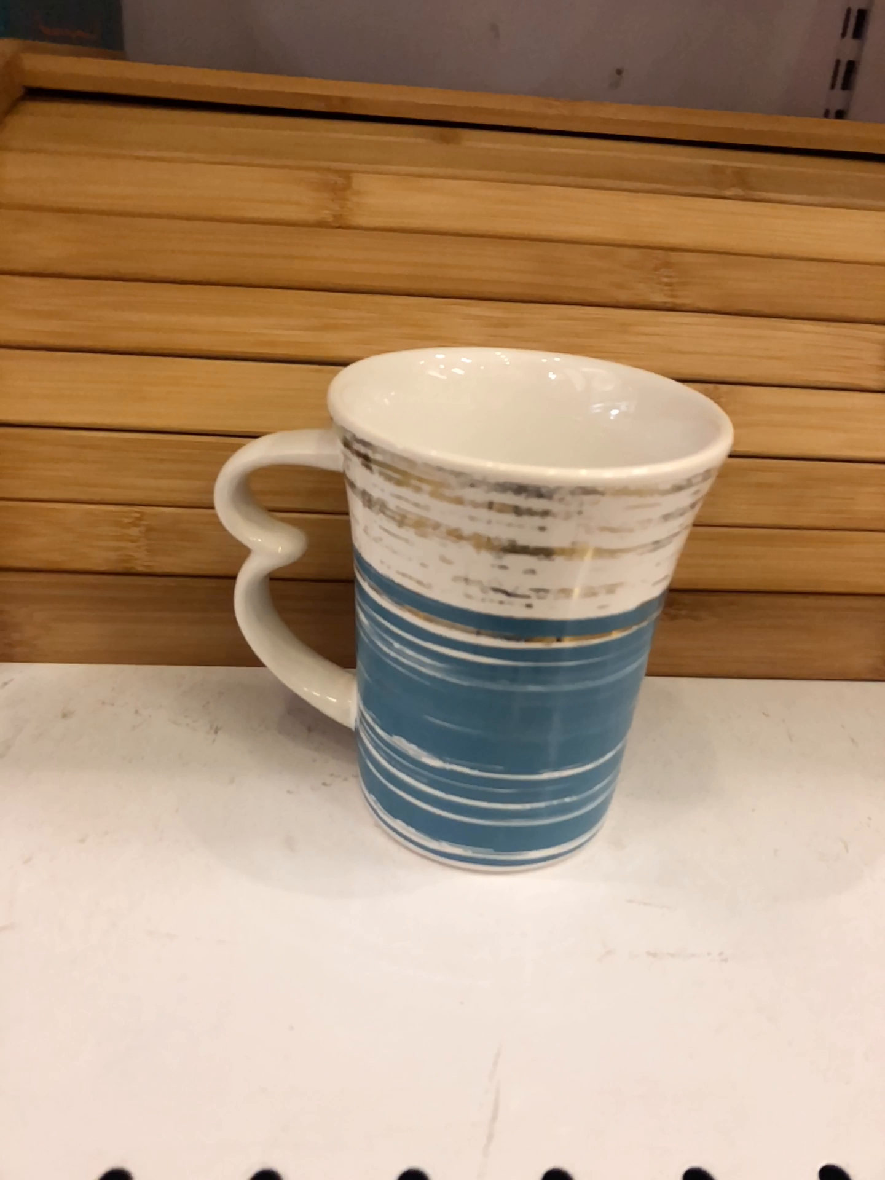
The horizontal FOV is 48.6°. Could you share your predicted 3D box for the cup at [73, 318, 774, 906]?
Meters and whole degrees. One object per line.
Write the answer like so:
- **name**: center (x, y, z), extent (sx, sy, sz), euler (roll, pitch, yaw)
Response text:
- **cup**: center (-0.002, -0.002, 0.227), extent (0.120, 0.089, 0.091), euler (7, 28, 4)
